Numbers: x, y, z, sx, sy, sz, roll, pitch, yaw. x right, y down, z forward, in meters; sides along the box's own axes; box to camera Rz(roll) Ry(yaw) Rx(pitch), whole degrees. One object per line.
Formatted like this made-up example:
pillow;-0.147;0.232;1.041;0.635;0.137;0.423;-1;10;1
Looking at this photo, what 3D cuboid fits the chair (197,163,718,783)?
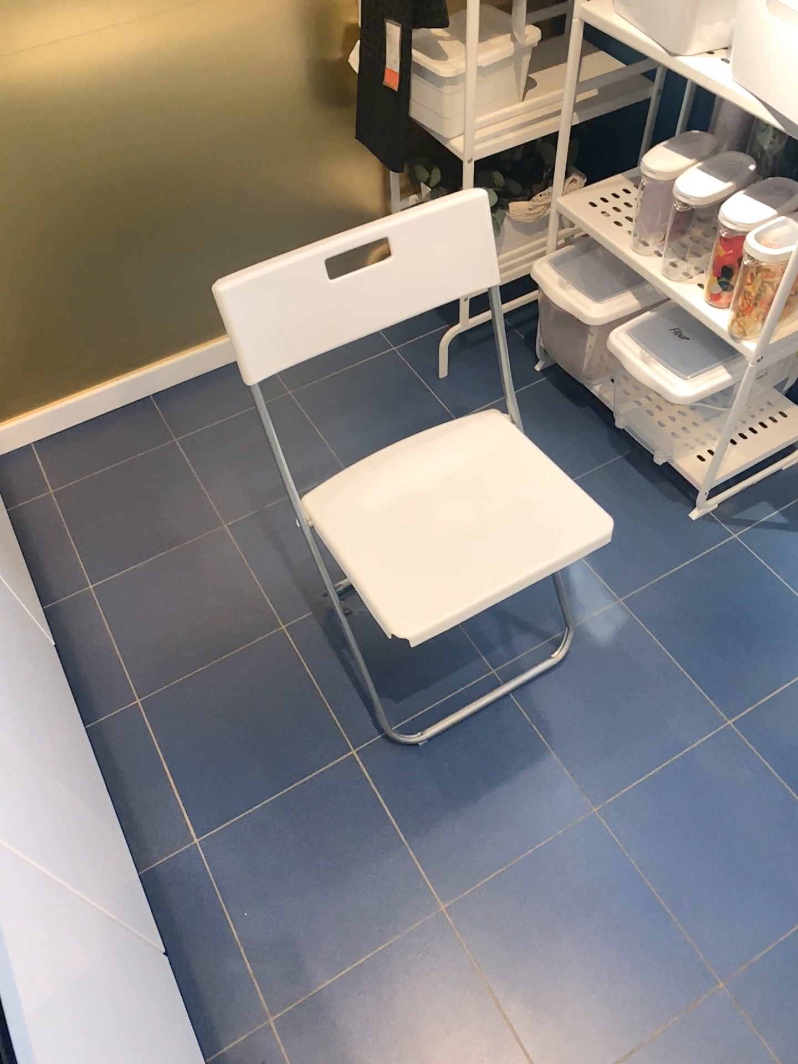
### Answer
chair;0.067;-0.042;1.230;0.440;0.748;0.421;-26;56;-16
